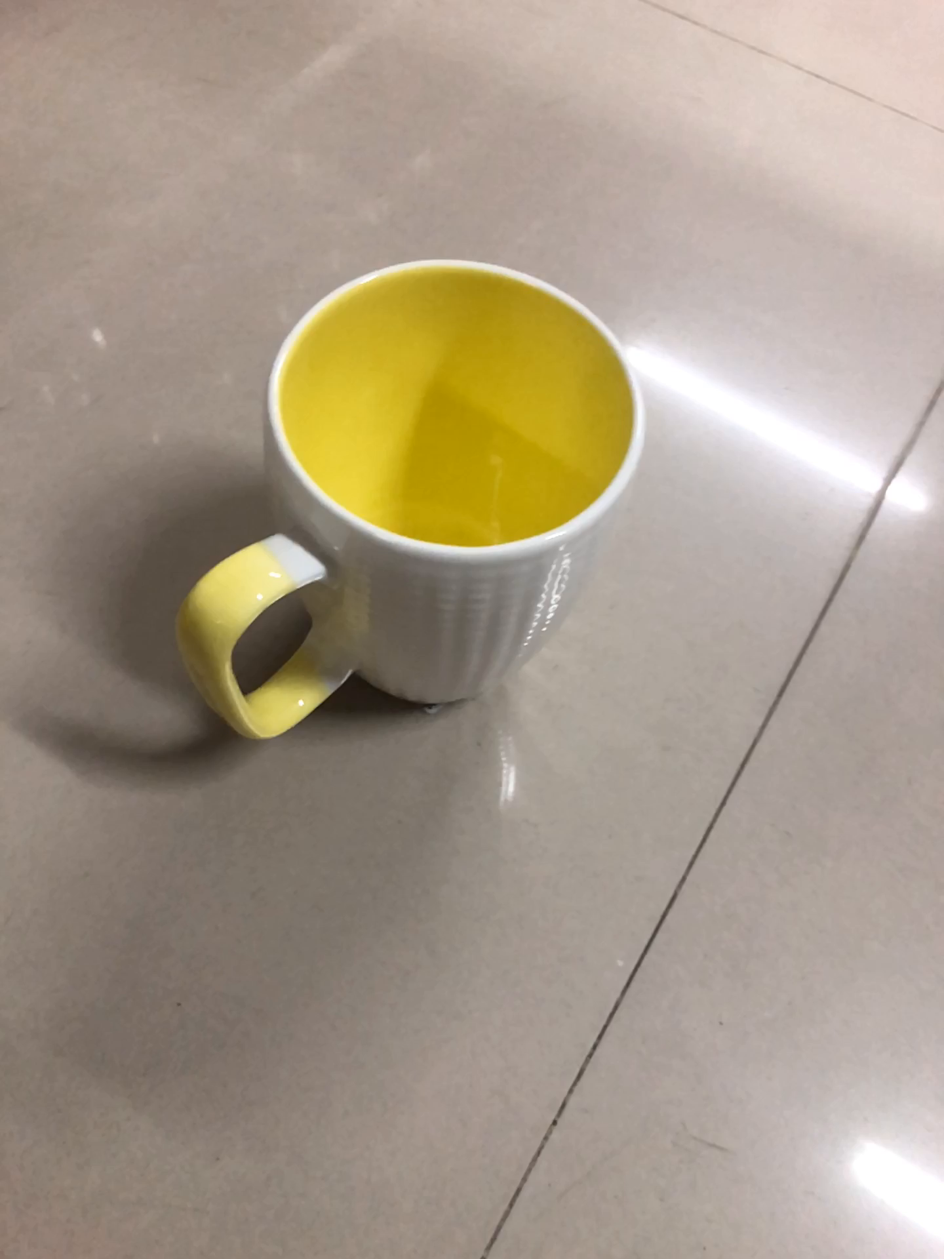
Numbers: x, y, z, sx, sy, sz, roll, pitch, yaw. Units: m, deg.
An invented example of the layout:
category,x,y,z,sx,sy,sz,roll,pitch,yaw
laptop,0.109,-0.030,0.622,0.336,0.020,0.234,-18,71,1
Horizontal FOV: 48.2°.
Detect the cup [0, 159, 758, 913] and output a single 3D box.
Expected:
category,x,y,z,sx,sy,sz,roll,pitch,yaw
cup,-0.018,-0.020,0.227,0.080,0.080,0.120,42,66,17
